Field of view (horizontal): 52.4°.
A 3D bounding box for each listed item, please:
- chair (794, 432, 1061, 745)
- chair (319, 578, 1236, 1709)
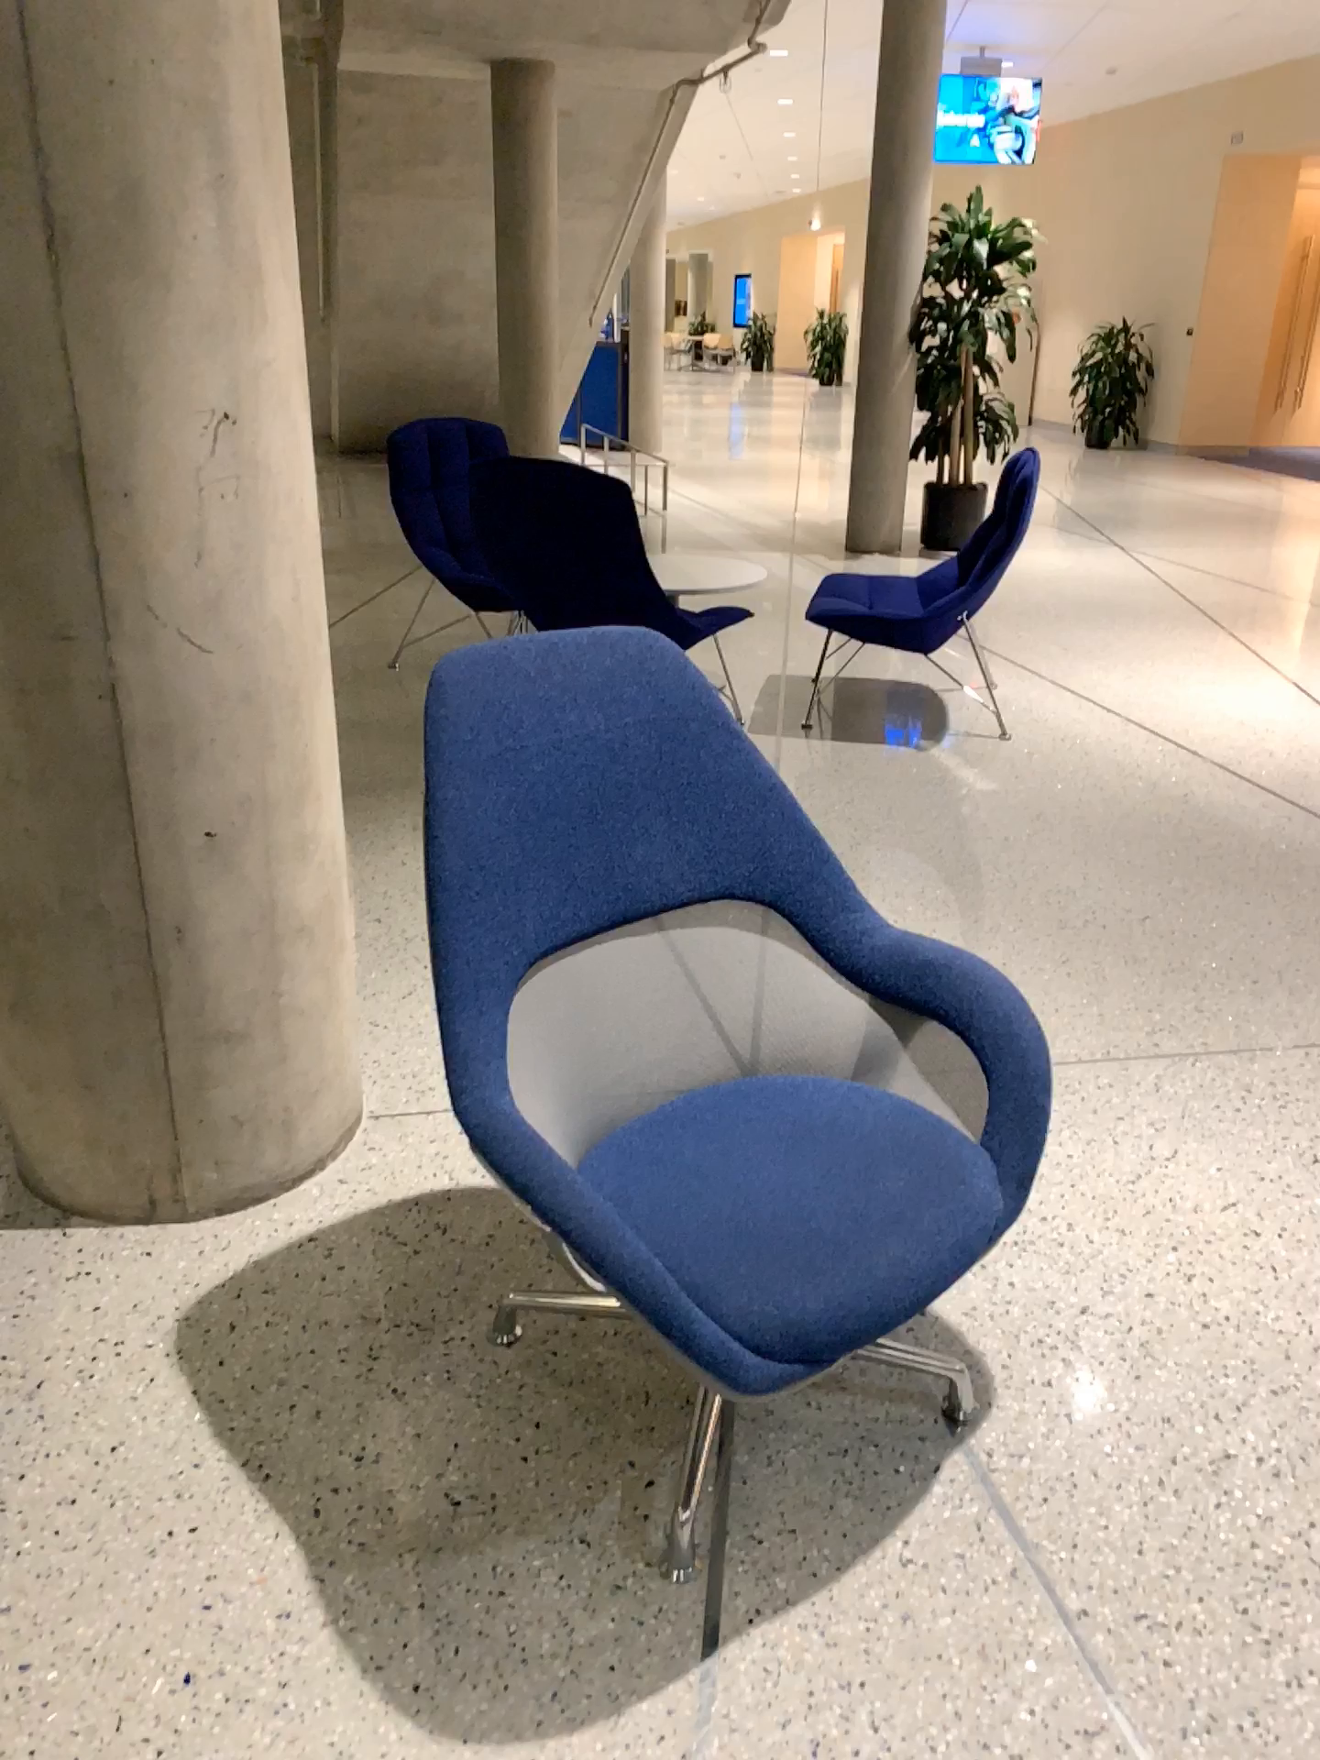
[{"bbox_3d":[0.936,-1.086,4.839,0.781,0.918,0.890,5,23,8],"label":"chair"},{"bbox_3d":[0.127,0.214,1.689,0.816,0.997,0.634,-16,28,-37],"label":"chair"}]
